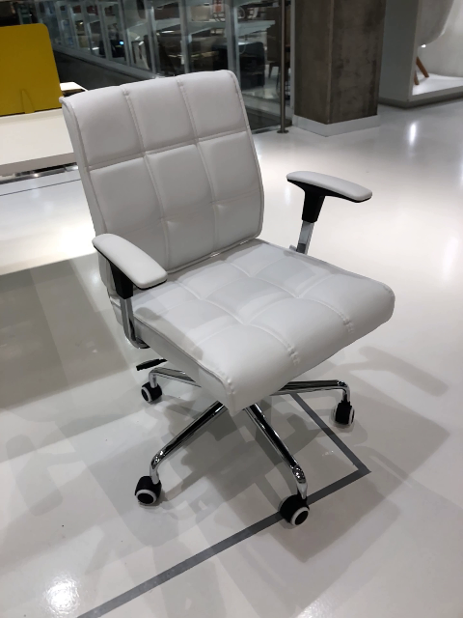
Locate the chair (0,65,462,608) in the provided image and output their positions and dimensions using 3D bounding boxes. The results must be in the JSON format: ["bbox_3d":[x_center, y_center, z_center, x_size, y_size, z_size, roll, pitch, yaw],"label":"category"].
[{"bbox_3d":[-0.030,-0.026,1.245,0.662,0.923,0.724,-24,37,-29],"label":"chair"}]
